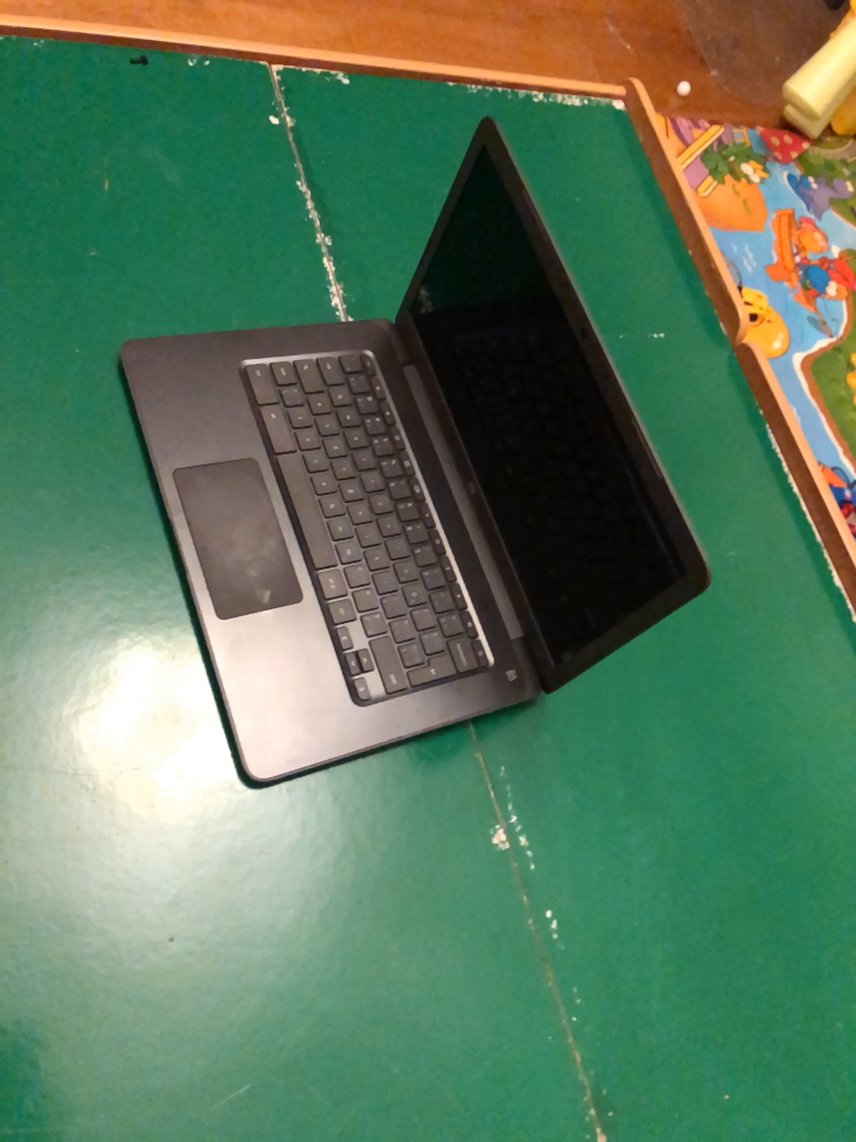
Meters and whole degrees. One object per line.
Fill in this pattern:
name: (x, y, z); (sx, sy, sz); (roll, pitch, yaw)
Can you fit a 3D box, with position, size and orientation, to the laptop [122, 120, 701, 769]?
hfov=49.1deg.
laptop: (-0.039, -0.080, 0.586); (0.211, 0.204, 0.318); (-11, 69, -26)
